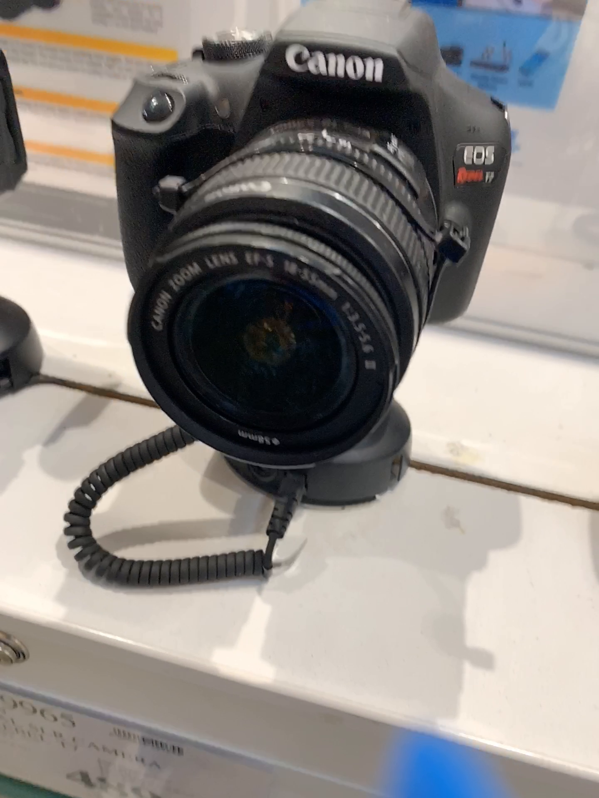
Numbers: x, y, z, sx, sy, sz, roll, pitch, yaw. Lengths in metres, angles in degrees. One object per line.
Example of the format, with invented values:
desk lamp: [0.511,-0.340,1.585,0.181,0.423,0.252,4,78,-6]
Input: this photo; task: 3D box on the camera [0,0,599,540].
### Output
camera: [0.001,-0.058,0.180,0.130,0.089,0.141,13,38,7]
